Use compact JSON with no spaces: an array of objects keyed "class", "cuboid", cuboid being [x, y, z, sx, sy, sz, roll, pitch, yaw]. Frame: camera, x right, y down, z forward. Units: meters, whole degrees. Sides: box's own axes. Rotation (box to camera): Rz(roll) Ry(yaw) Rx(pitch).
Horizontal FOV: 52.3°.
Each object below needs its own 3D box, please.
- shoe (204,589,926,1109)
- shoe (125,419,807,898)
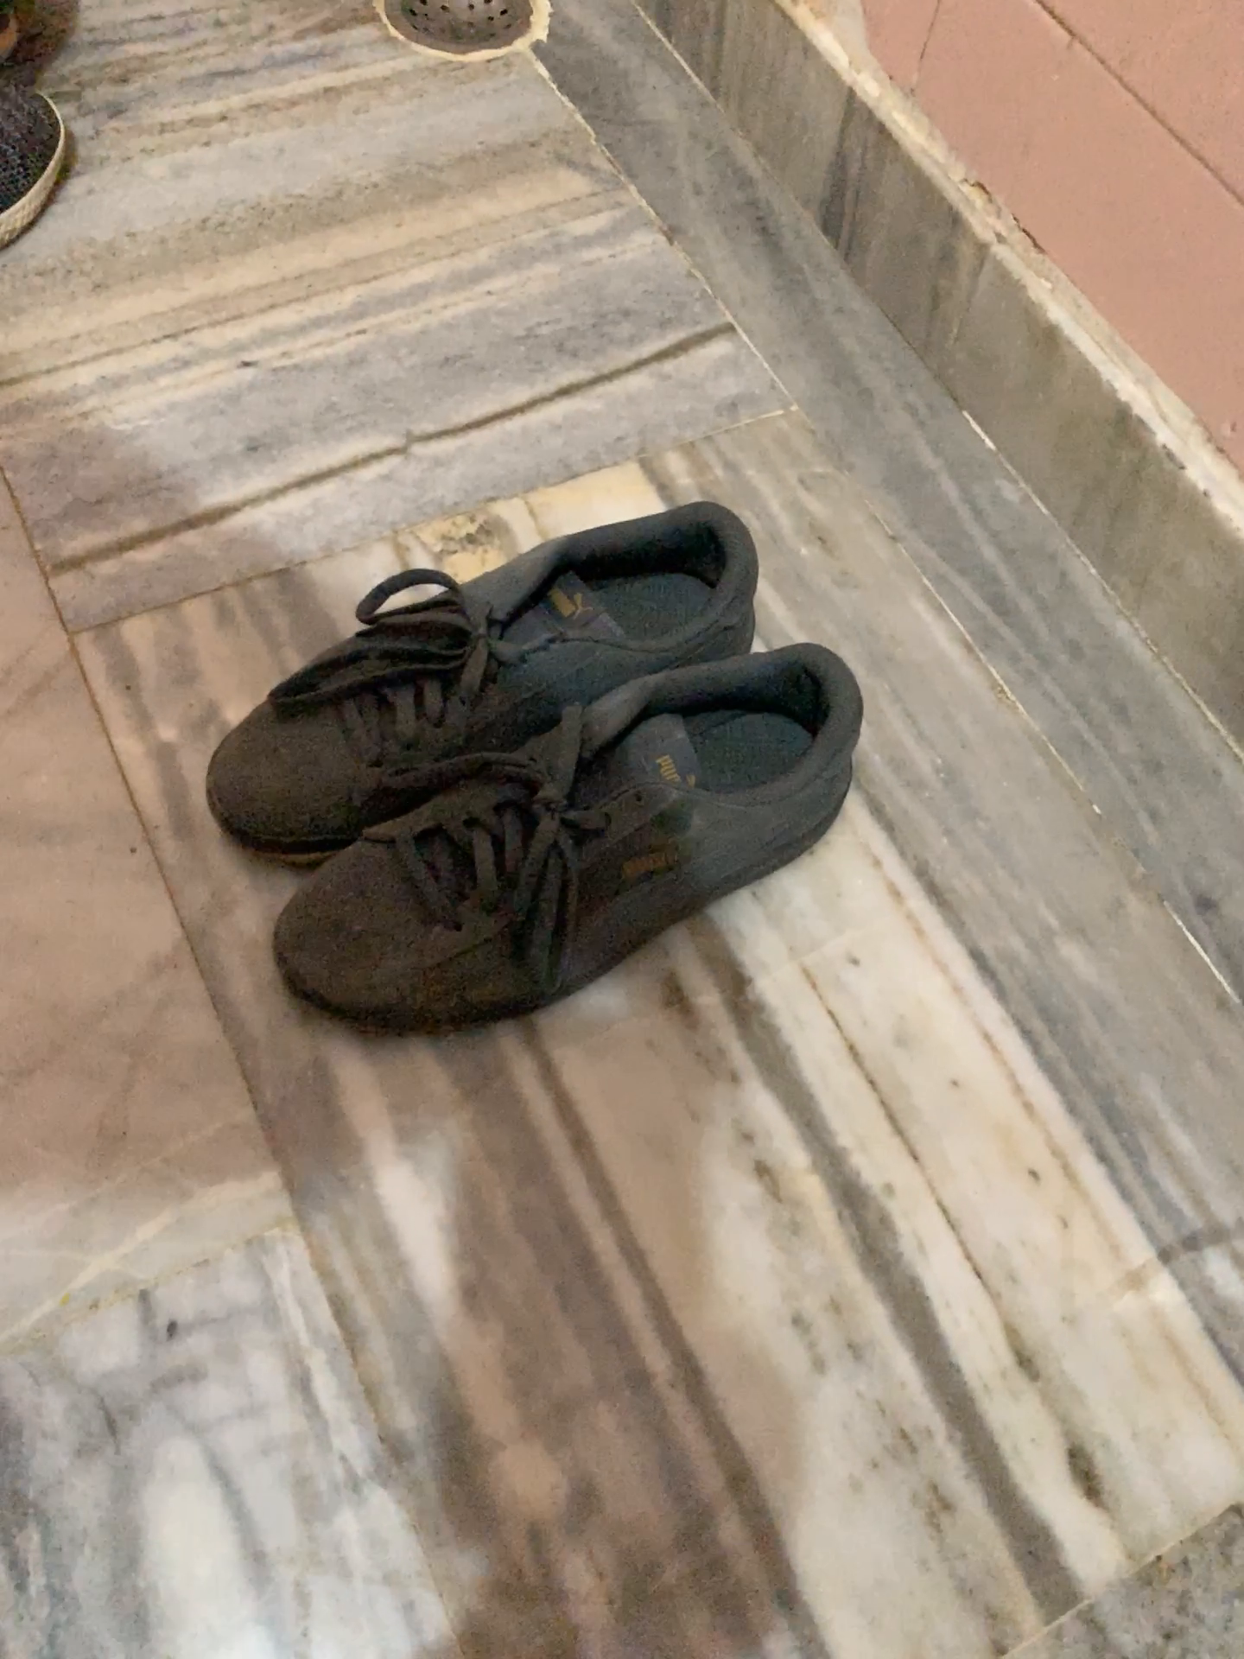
[{"class":"shoe","cuboid":[-0.023,0.006,0.587,0.290,0.100,0.110,-22,68,-16]},{"class":"shoe","cuboid":[-0.071,-0.087,0.625,0.290,0.100,0.110,-22,68,-16]}]
